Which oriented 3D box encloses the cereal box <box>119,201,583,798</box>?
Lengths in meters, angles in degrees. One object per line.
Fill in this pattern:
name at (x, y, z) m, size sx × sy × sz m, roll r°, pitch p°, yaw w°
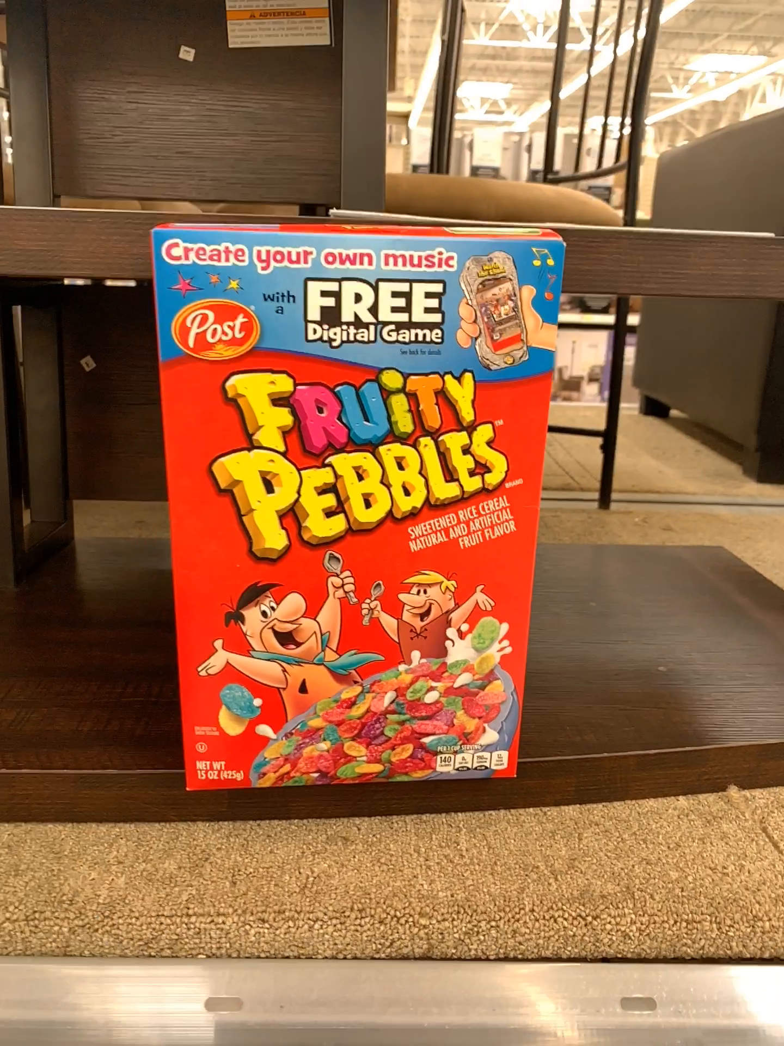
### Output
cereal box at (-0.024, -0.004, 0.441) m, size 0.210 × 0.309 × 0.060 m, roll 0°, pitch 18°, yaw -6°
